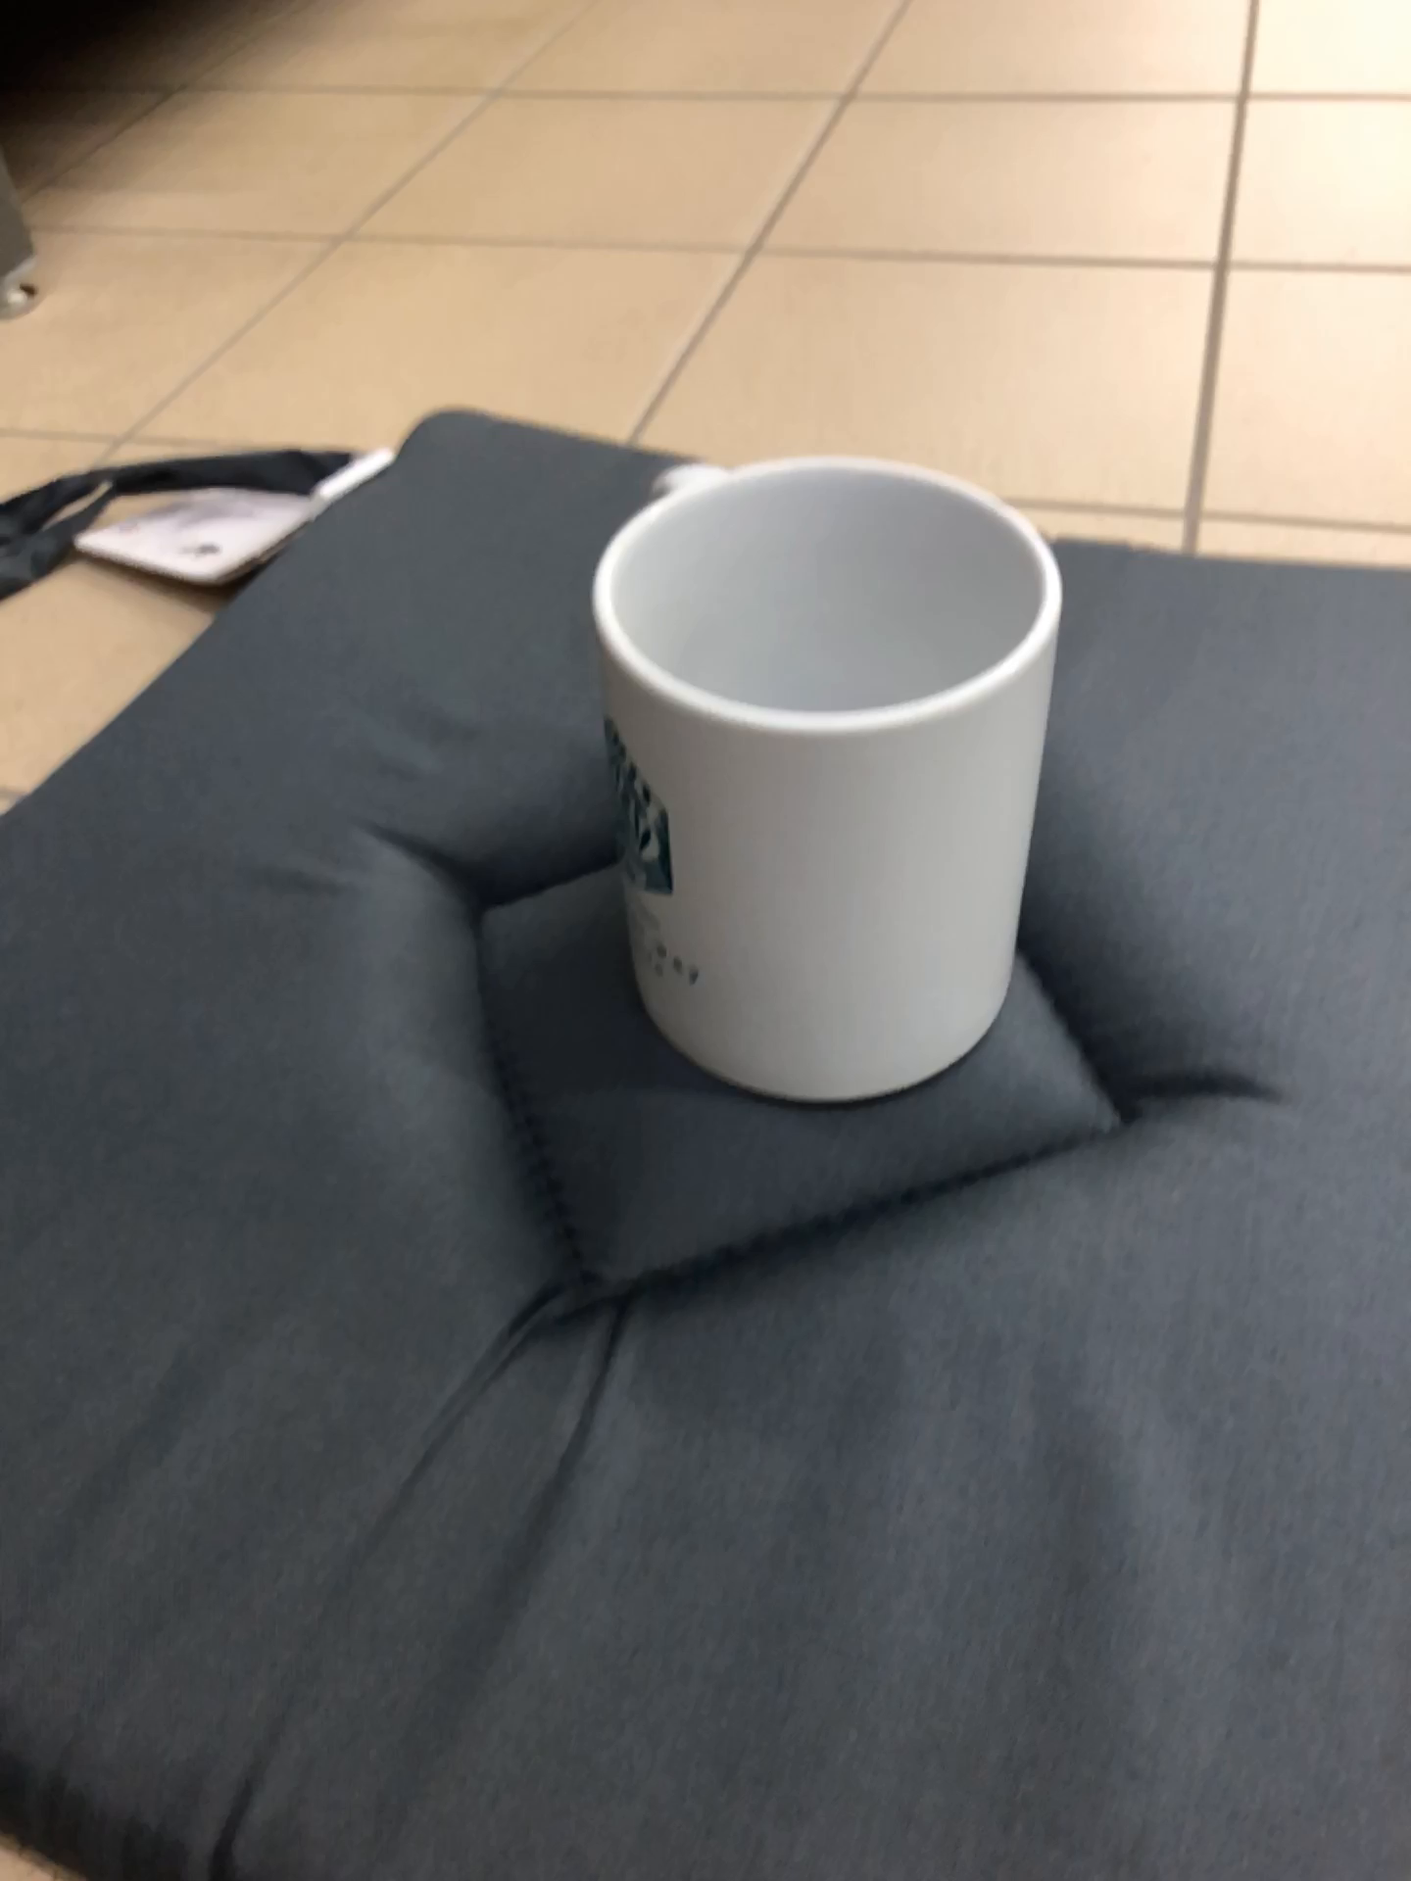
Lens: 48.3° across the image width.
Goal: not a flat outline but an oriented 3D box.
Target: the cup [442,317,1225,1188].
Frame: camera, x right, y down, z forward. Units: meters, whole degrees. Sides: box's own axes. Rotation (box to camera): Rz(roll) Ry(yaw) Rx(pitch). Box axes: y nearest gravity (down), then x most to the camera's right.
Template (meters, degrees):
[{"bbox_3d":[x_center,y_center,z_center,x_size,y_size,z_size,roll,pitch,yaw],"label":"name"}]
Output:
[{"bbox_3d":[0.017,-0.043,0.306,0.090,0.089,0.131,-18,46,-12],"label":"cup"}]
